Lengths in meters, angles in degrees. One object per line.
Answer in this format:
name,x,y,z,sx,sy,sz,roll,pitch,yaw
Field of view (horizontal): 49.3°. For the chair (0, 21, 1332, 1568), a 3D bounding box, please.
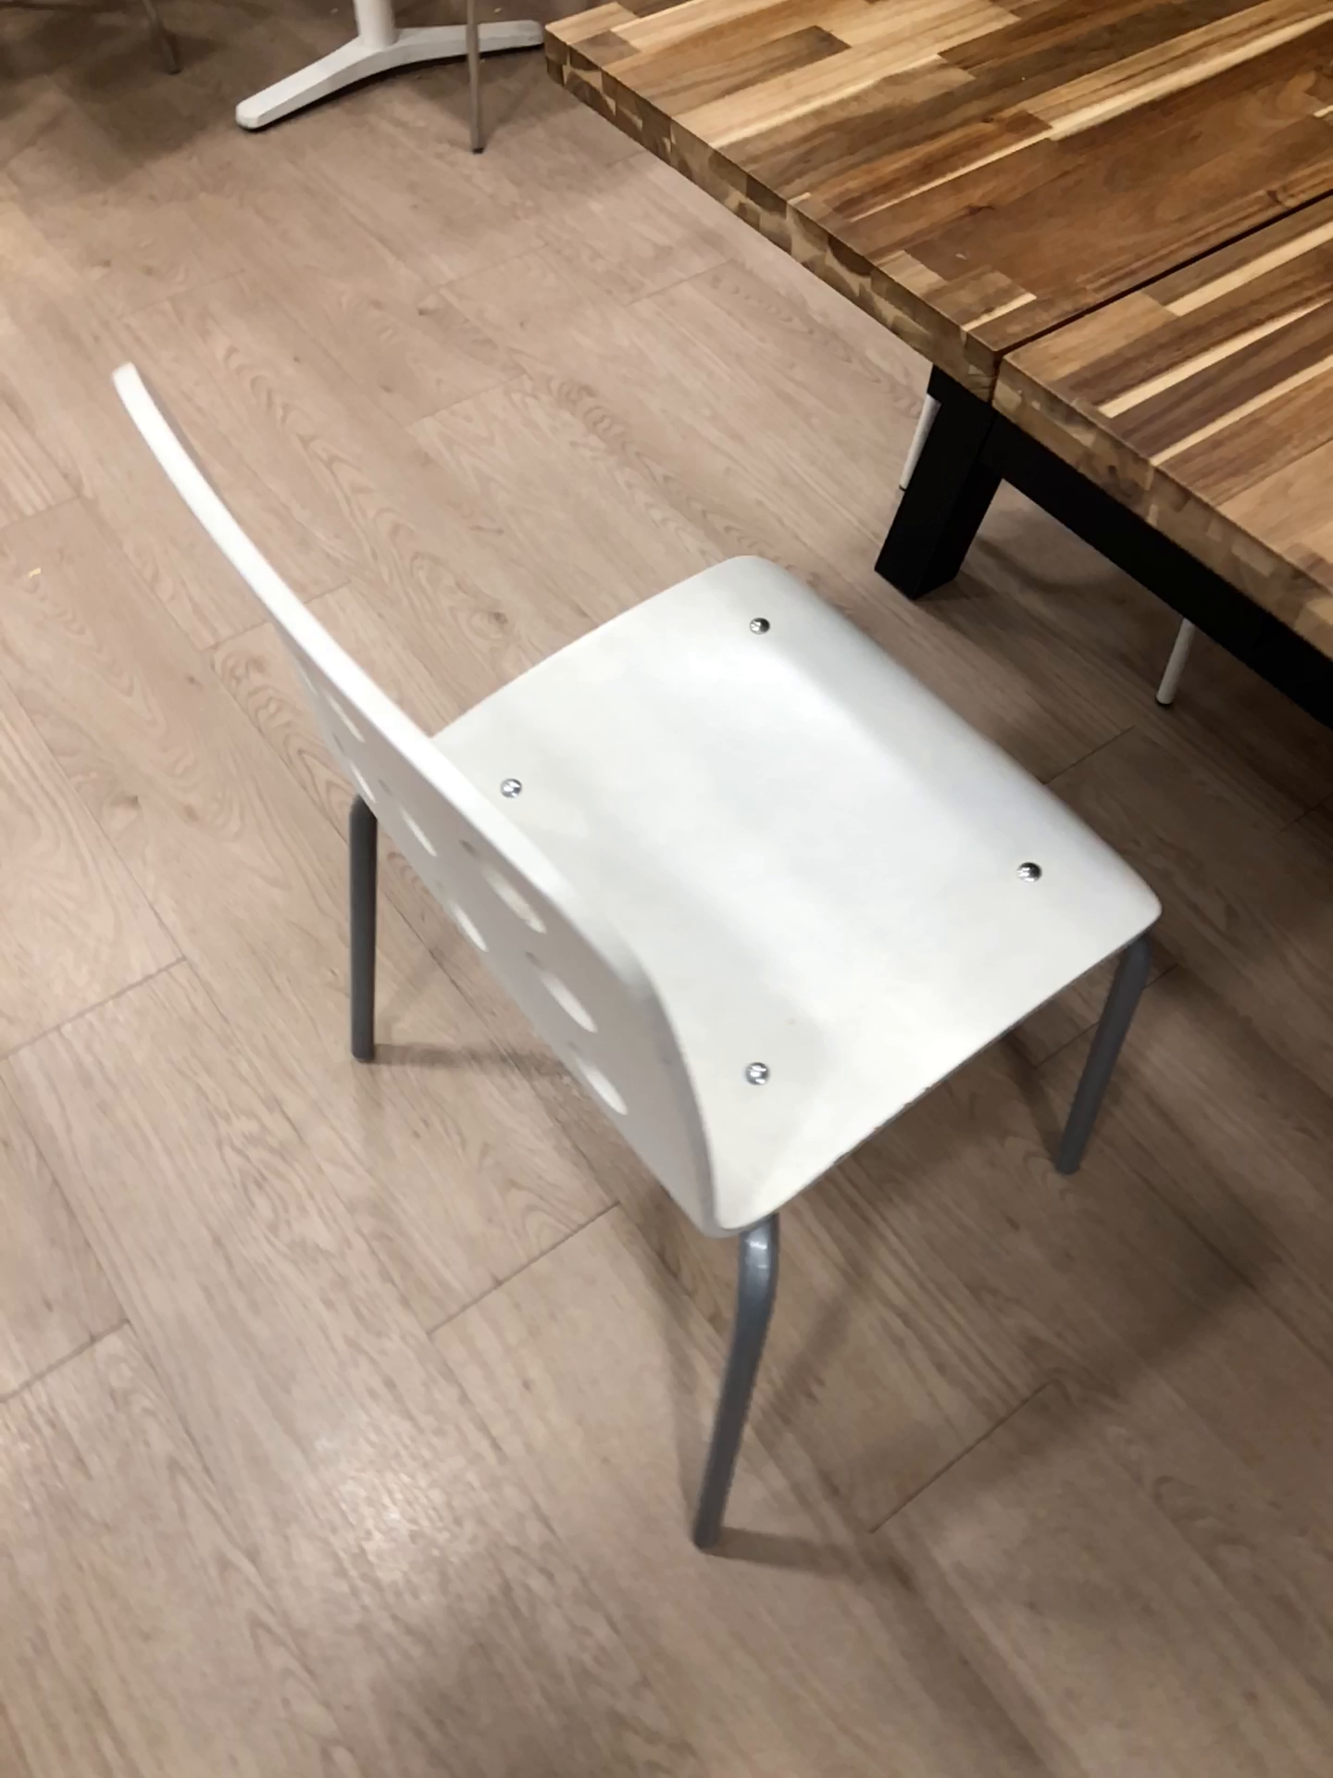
chair,0.008,-0.031,0.978,0.491,0.716,0.572,-33,60,-21
